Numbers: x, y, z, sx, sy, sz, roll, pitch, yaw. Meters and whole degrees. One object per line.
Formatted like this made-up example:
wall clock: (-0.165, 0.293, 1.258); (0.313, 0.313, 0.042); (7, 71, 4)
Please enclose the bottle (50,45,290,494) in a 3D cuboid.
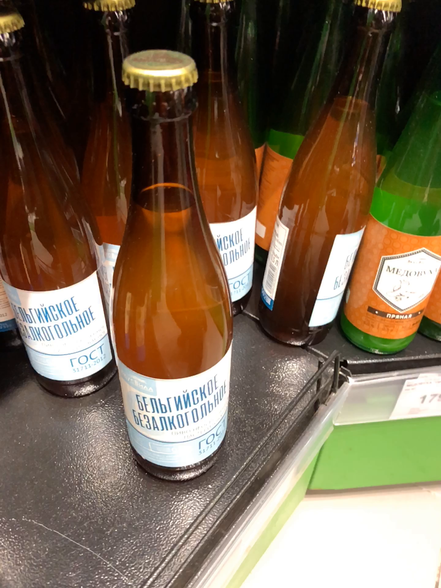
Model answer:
bottle: (-0.026, 0.009, 0.276); (0.080, 0.255, 0.080); (2, 41, -2)
